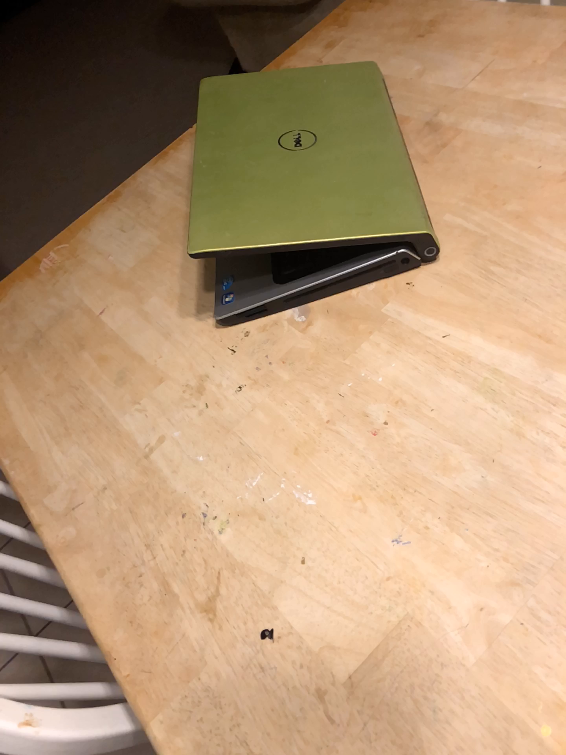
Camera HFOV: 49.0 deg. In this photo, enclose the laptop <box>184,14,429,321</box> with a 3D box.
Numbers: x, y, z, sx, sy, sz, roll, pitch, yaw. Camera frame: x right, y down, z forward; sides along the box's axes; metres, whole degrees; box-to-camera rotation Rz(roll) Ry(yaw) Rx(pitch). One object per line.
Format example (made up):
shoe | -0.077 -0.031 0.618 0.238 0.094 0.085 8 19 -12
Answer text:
laptop | 0.018 -0.254 0.711 0.227 0.077 0.360 -17 48 17
